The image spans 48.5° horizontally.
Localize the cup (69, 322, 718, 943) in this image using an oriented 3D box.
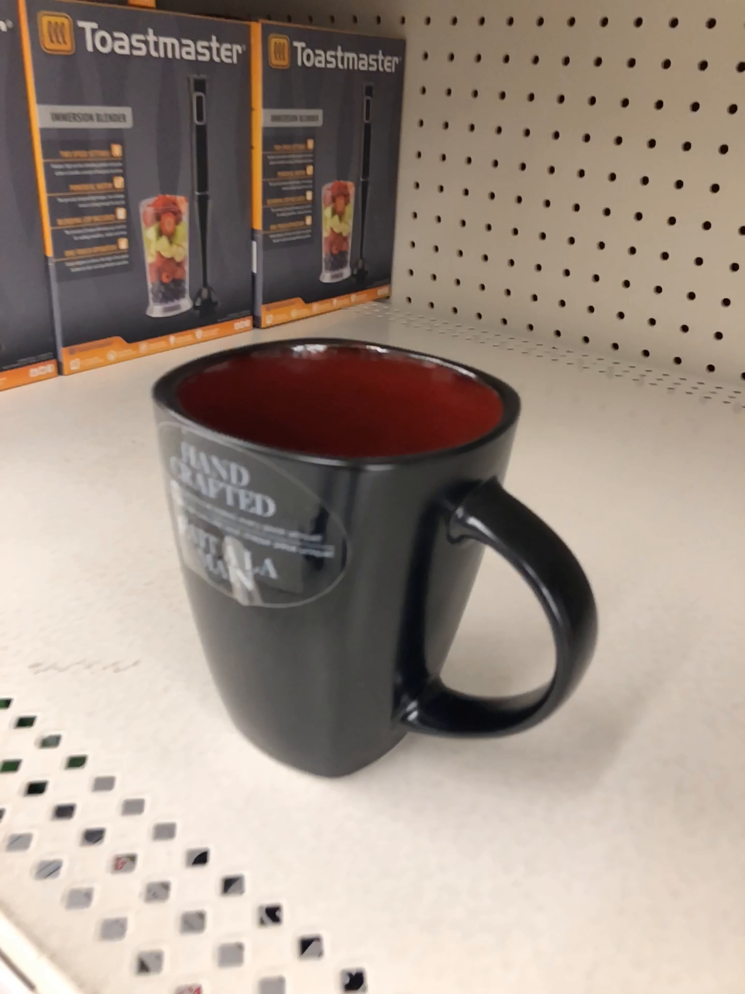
[{"bbox_3d":[0.004,0.020,0.242,0.143,0.099,0.100,20,31,31],"label":"cup"}]
